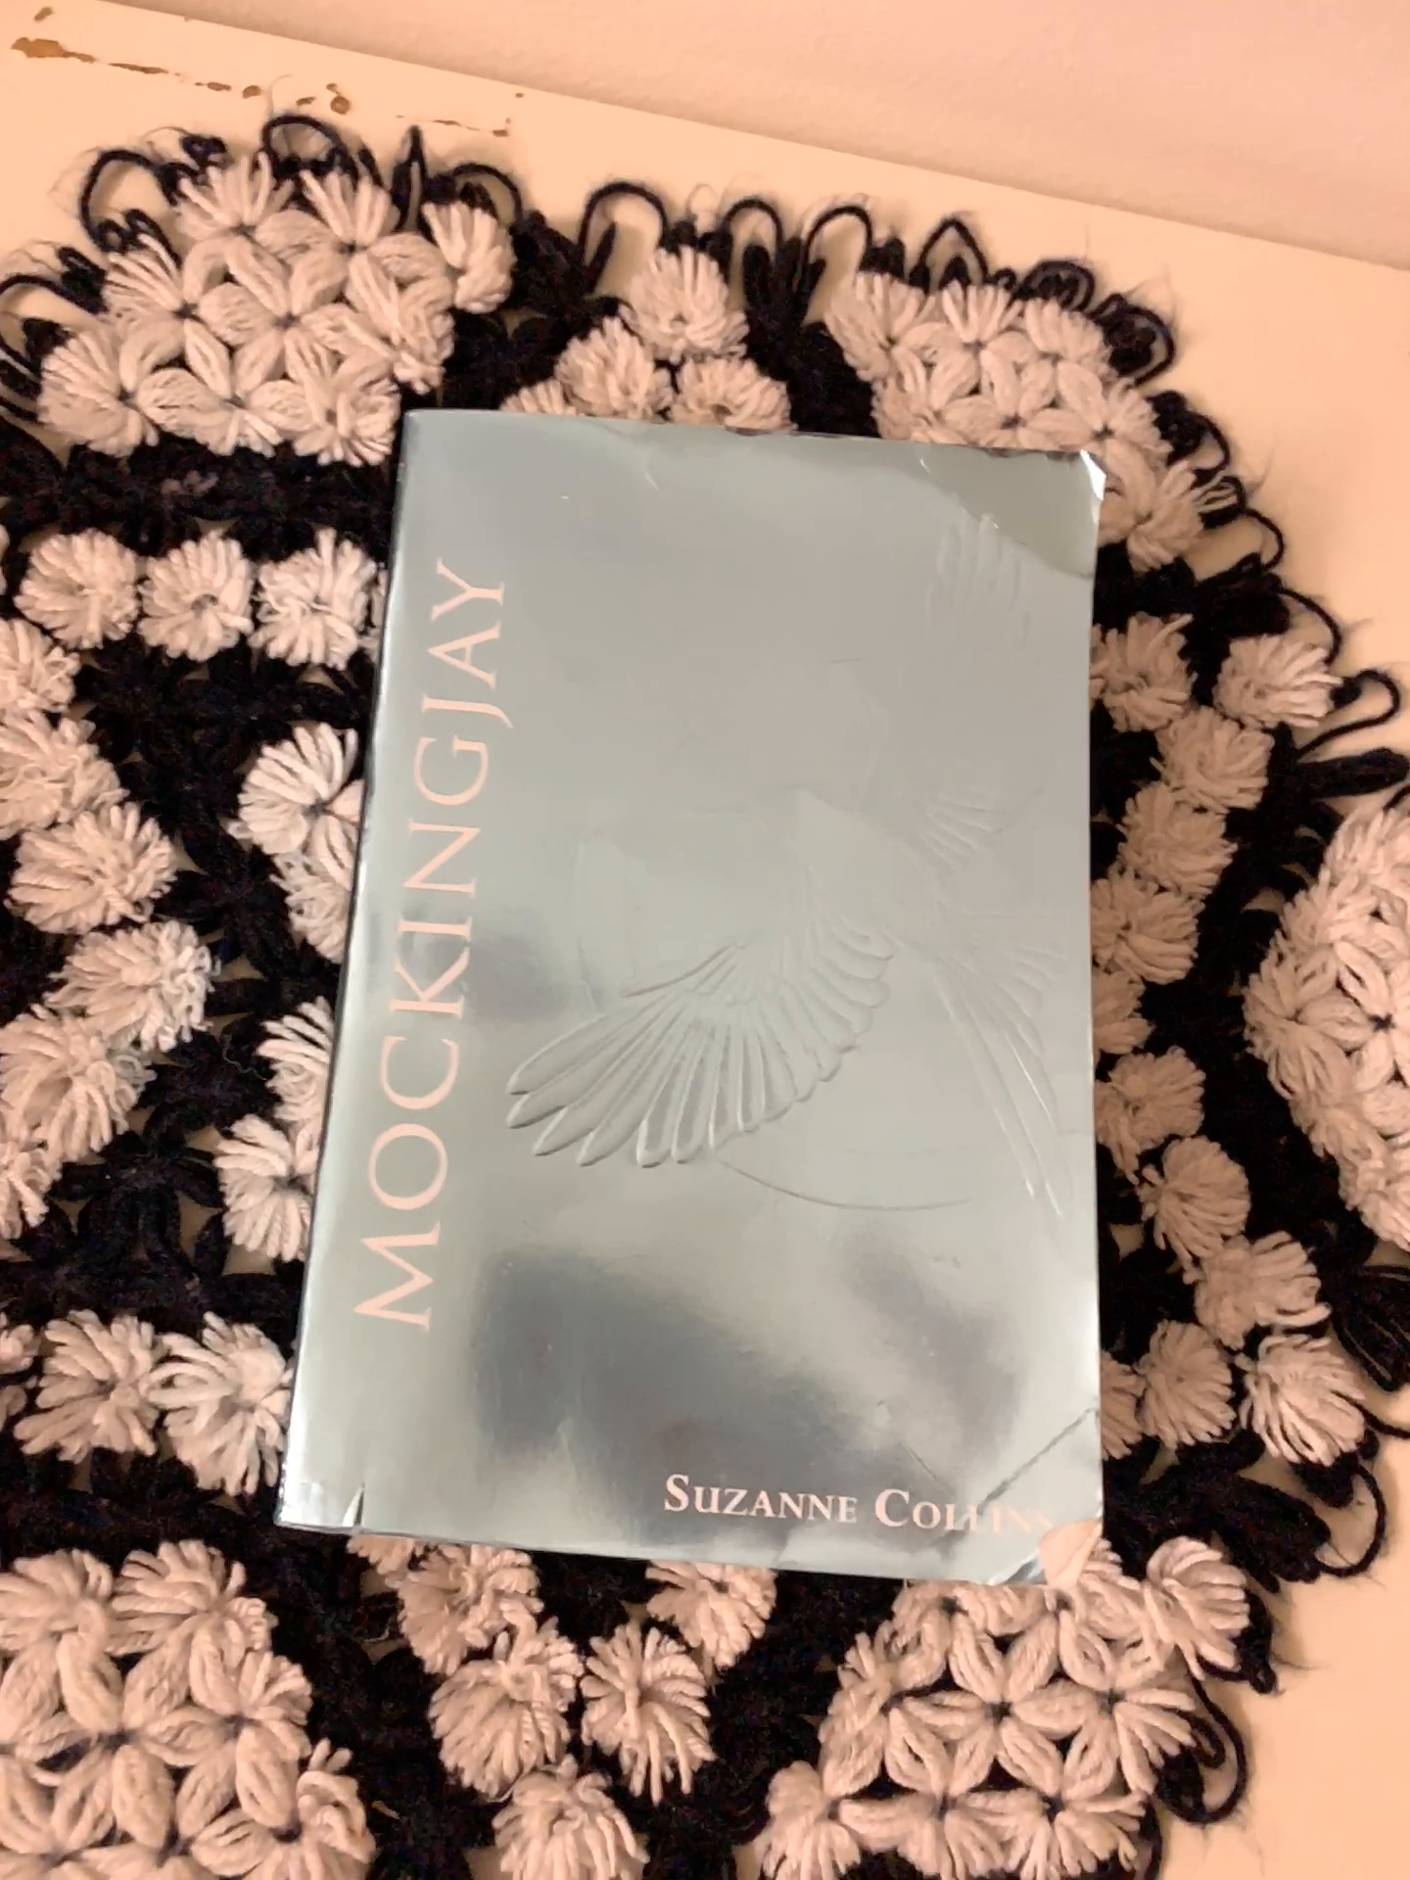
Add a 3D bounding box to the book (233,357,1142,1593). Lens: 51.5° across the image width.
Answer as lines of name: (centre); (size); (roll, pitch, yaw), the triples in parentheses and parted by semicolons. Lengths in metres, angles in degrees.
book: (0.003, 0.005, 0.254); (0.136, 0.036, 0.193); (5, 77, -9)
